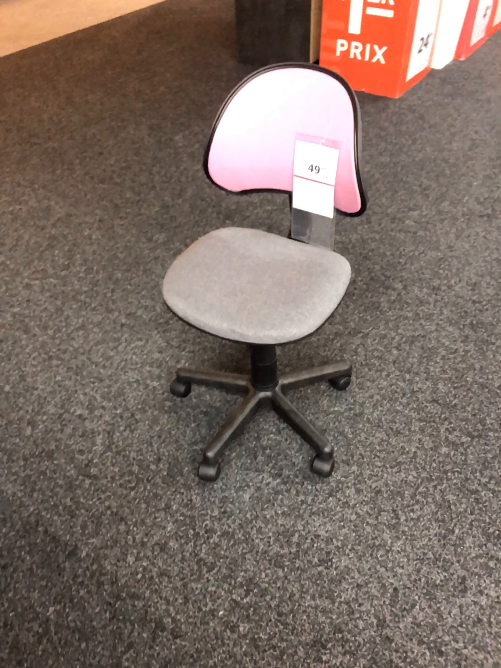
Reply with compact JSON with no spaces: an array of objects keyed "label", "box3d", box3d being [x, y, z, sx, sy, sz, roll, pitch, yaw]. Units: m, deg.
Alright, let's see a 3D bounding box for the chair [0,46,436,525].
[{"label":"chair","box3d":[0.007,-0.119,1.232,0.600,0.775,0.604,11,44,14]}]
